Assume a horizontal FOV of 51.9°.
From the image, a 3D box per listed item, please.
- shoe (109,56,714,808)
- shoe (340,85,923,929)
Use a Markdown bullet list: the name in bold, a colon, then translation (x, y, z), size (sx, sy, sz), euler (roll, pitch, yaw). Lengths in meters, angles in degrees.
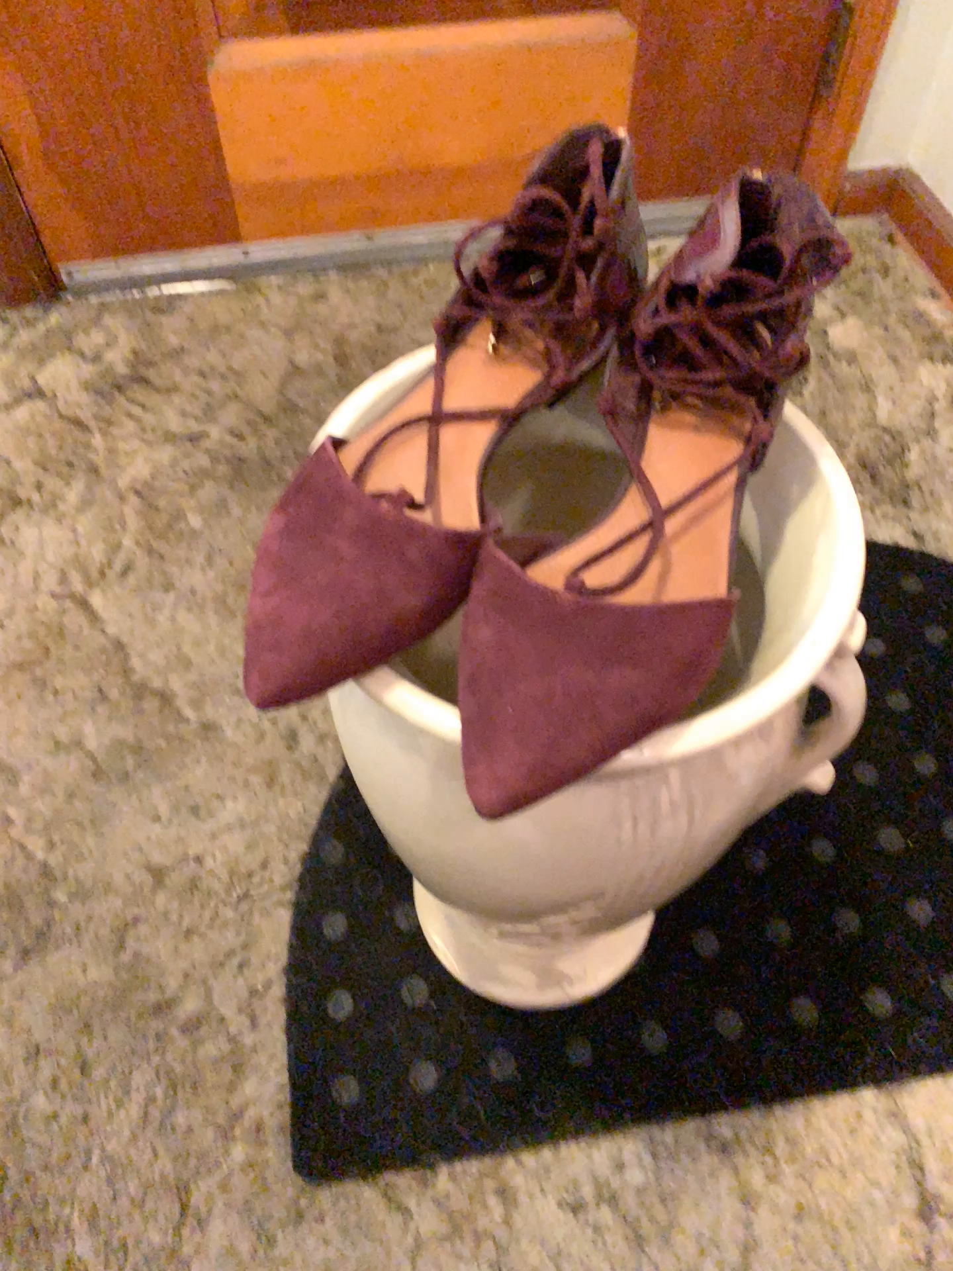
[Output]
- **shoe**: translation (-0.011, -0.085, 0.379), size (0.090, 0.070, 0.281), euler (25, 75, 17)
- **shoe**: translation (0.063, -0.058, 0.333), size (0.090, 0.070, 0.282), euler (19, 67, 14)
